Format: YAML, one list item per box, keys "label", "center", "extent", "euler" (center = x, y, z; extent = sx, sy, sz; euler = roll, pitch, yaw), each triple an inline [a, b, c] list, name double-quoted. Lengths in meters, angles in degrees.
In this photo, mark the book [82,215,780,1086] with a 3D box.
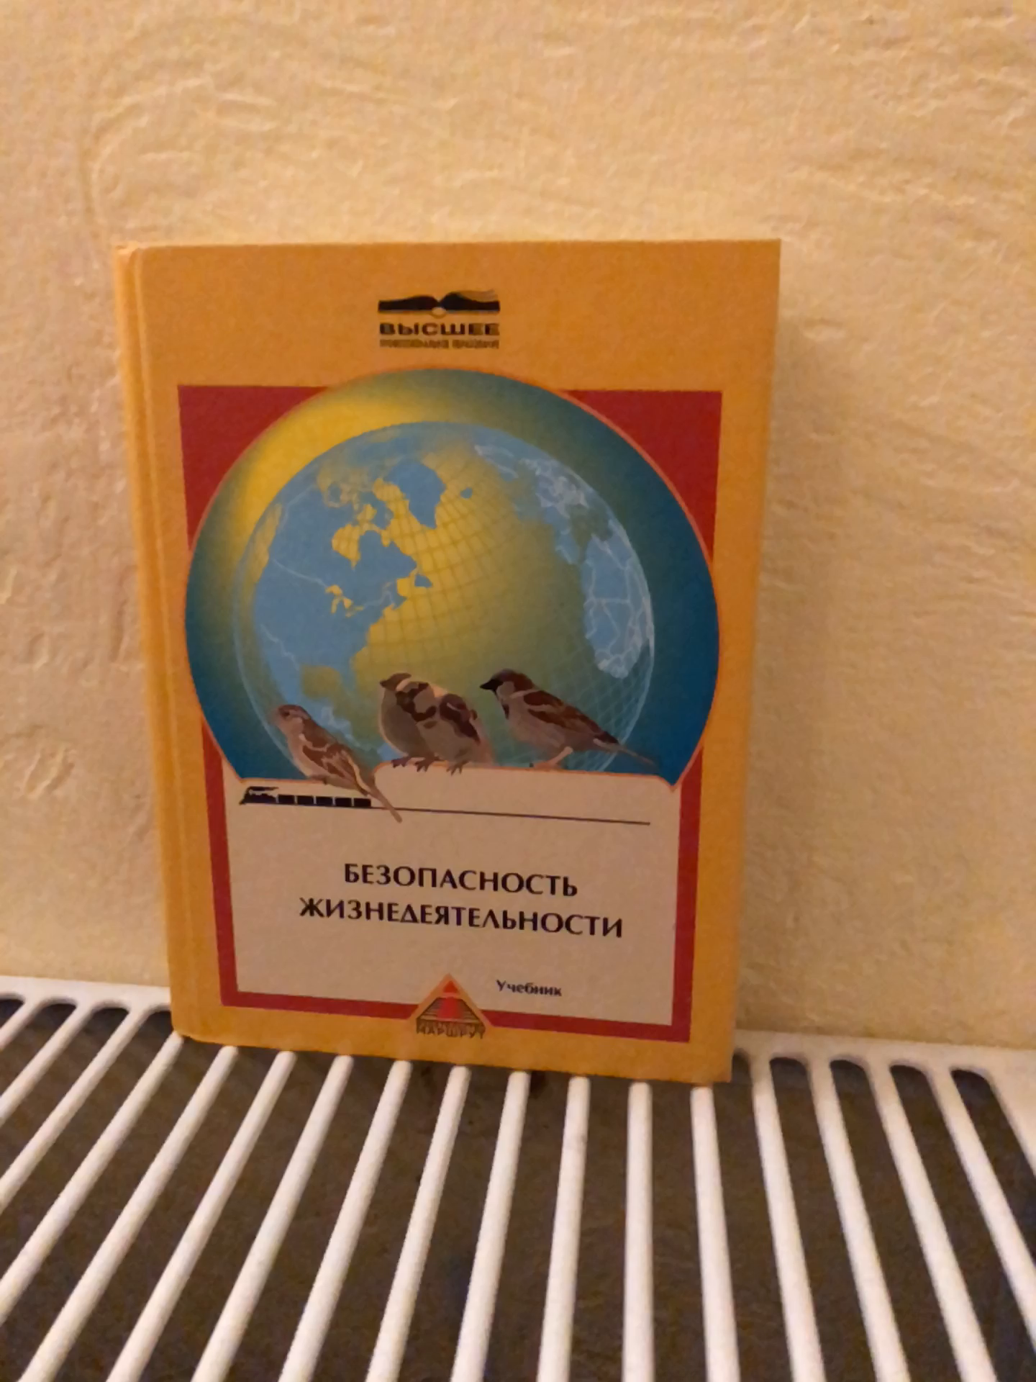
- label: "book"
  center: [-0.018, -0.007, 0.289]
  extent: [0.150, 0.203, 0.041]
  euler: [2, 17, 9]
